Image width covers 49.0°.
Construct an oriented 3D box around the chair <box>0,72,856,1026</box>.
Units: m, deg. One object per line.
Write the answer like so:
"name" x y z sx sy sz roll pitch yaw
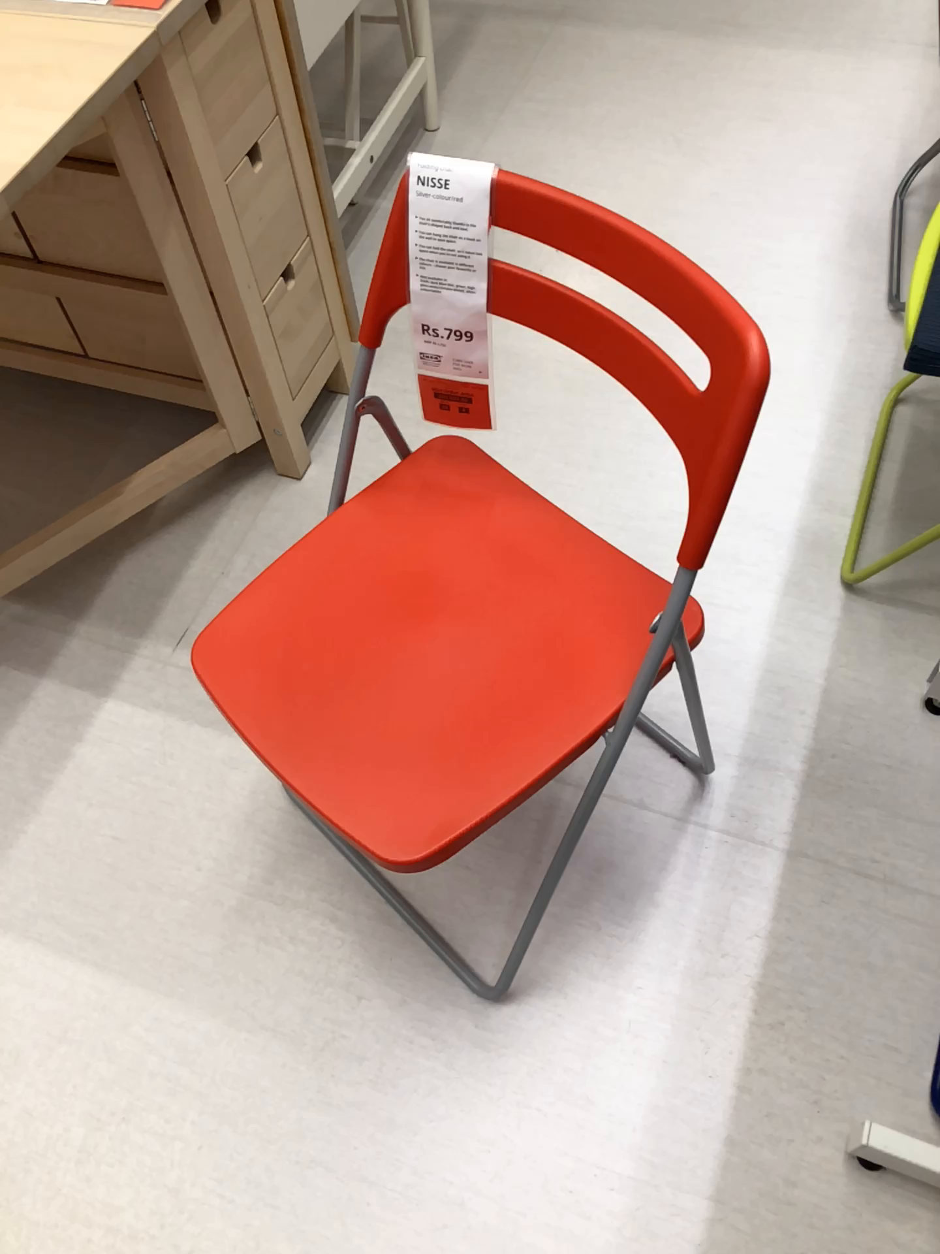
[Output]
"chair" -0.028 -0.022 0.968 0.421 0.677 0.441 -41 62 -20
